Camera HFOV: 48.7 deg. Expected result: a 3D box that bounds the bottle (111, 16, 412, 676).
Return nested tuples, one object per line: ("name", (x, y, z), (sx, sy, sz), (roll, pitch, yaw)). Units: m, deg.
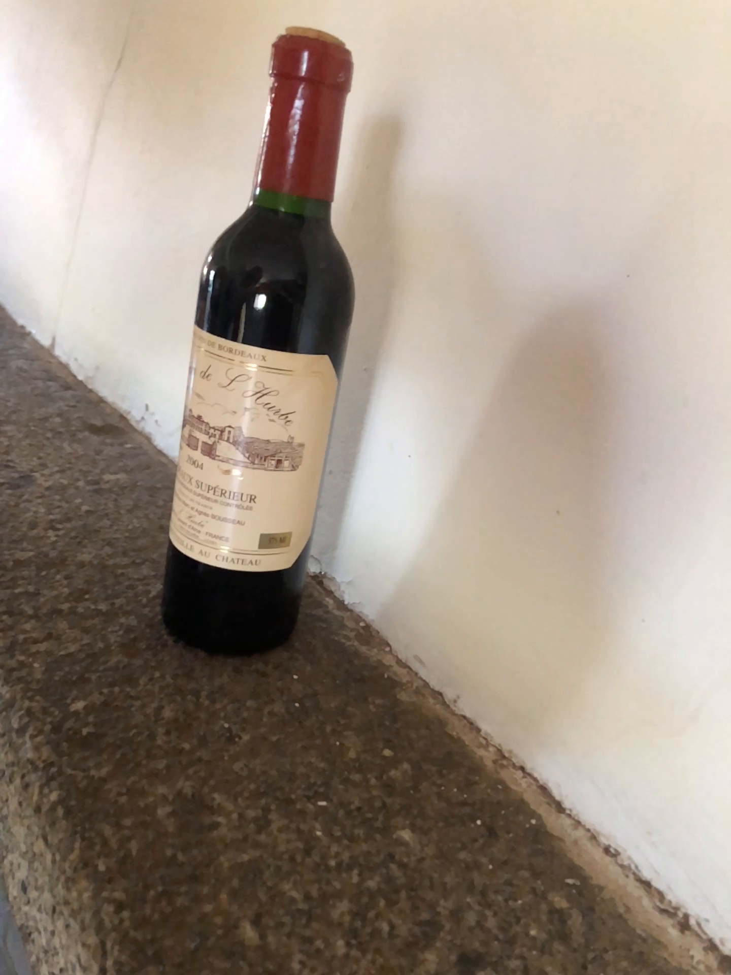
("bottle", (-0.046, -0.048, 0.317), (0.060, 0.229, 0.060), (10, 17, -3))
